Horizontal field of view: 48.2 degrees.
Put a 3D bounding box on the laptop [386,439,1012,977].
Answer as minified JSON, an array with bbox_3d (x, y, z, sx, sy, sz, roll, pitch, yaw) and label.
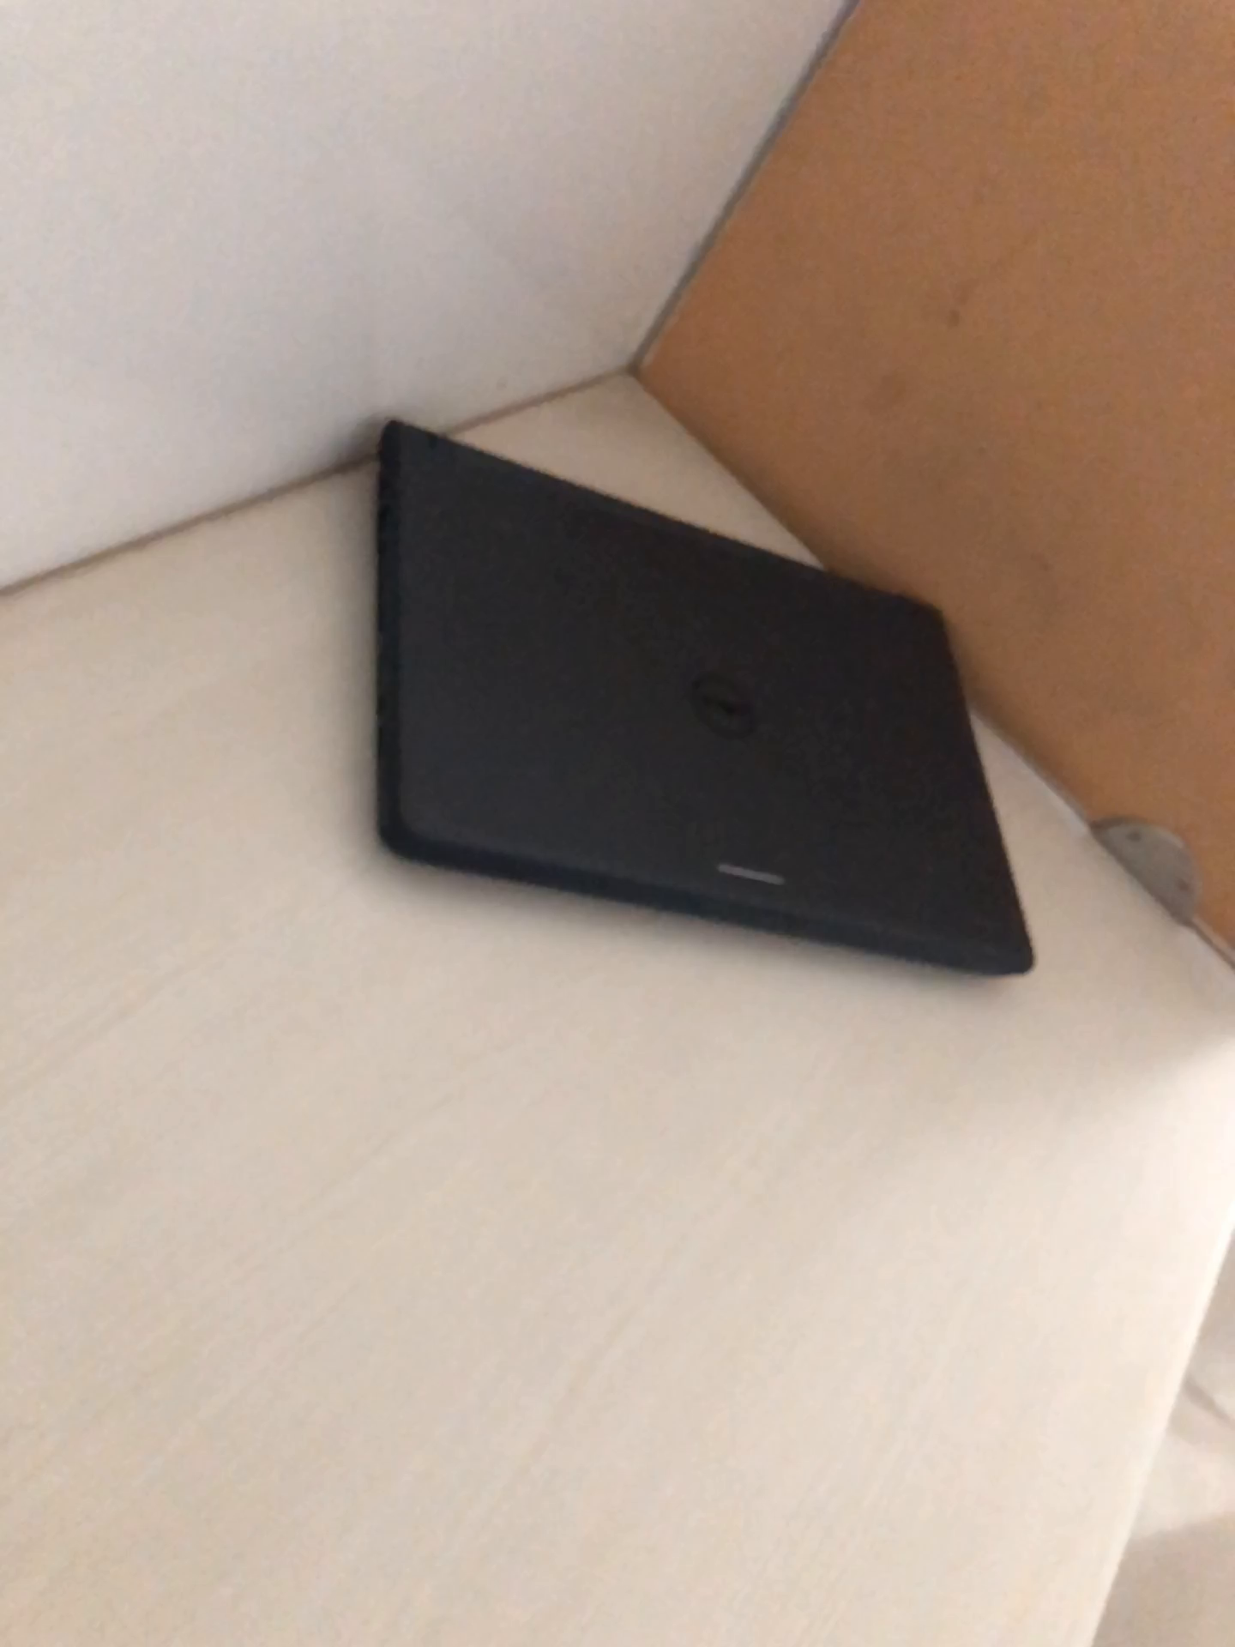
[{"bbox_3d":[0.037,-0.054,0.640,0.291,0.007,0.228,12,50,-26],"label":"laptop"}]
